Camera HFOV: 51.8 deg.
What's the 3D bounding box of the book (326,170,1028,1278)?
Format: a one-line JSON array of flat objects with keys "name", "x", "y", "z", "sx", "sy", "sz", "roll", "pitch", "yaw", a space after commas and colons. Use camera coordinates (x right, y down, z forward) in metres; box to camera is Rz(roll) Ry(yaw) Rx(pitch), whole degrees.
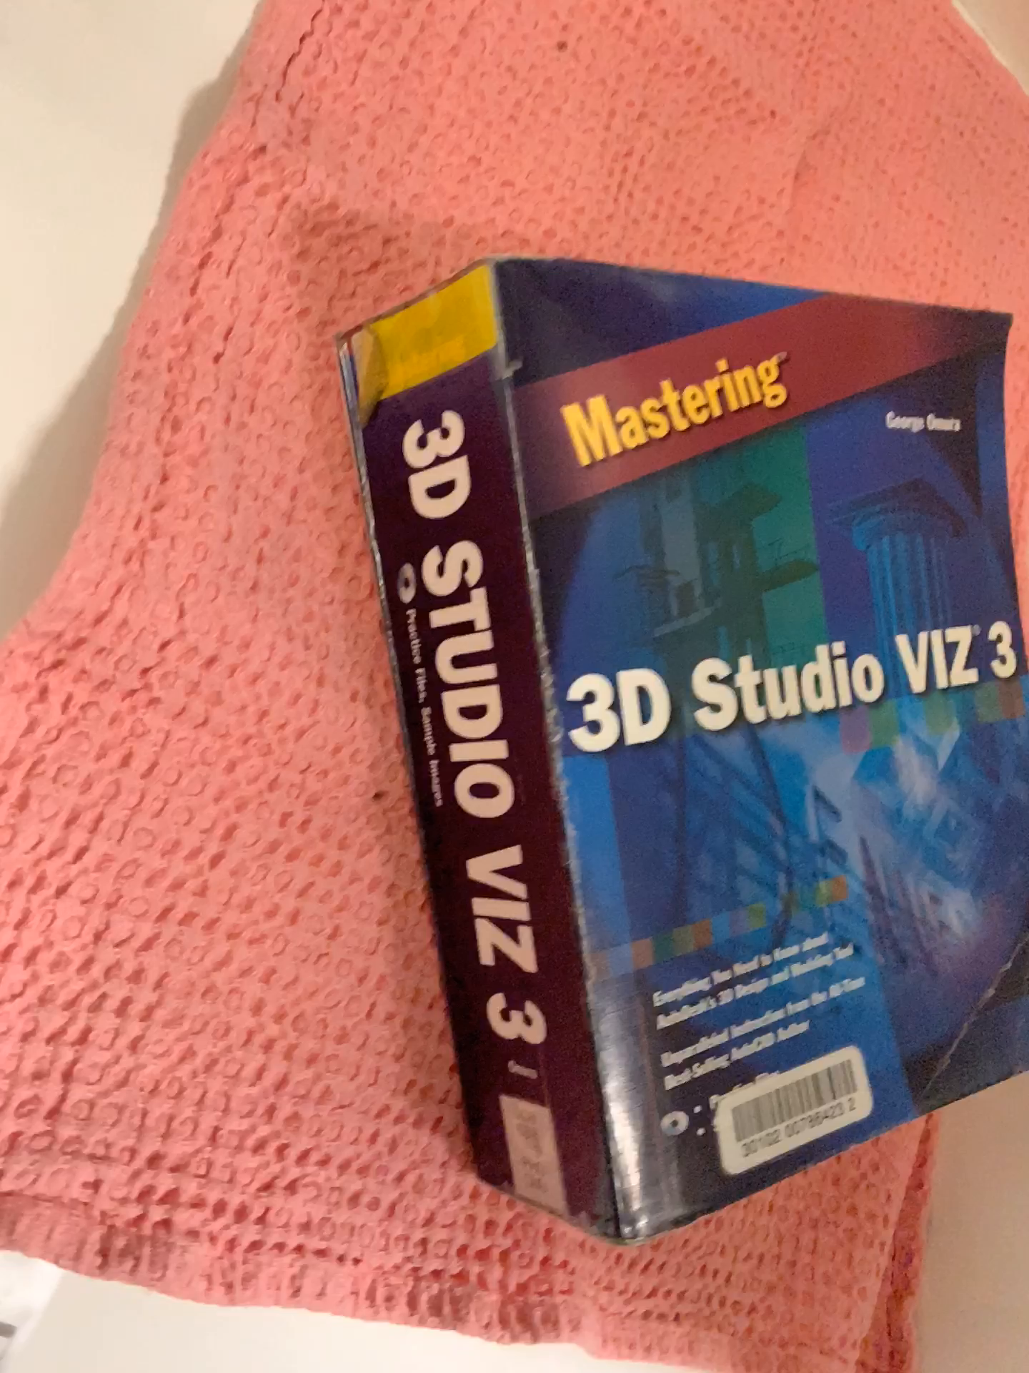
[{"name": "book", "x": 0.072, "y": -0.002, "z": 0.310, "sx": 0.207, "sy": 0.077, "sz": 0.231, "roll": -8, "pitch": 90, "yaw": -35}]
